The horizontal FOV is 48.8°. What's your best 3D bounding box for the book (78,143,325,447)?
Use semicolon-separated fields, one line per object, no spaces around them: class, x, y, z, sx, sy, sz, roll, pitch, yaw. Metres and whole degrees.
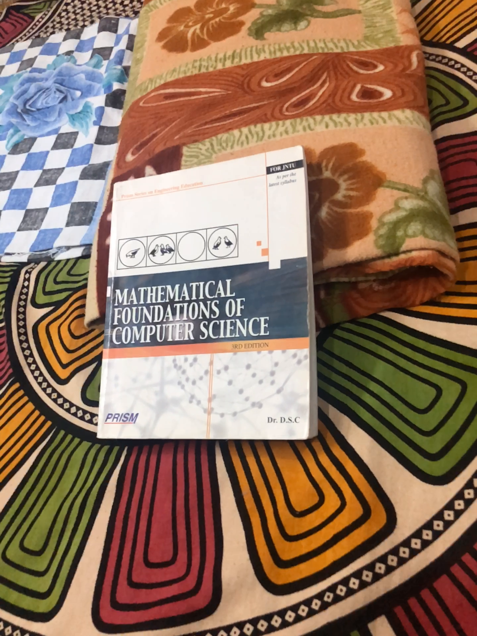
book;-0.032;-0.012;0.439;0.190;0.050;0.230;-5;77;19
